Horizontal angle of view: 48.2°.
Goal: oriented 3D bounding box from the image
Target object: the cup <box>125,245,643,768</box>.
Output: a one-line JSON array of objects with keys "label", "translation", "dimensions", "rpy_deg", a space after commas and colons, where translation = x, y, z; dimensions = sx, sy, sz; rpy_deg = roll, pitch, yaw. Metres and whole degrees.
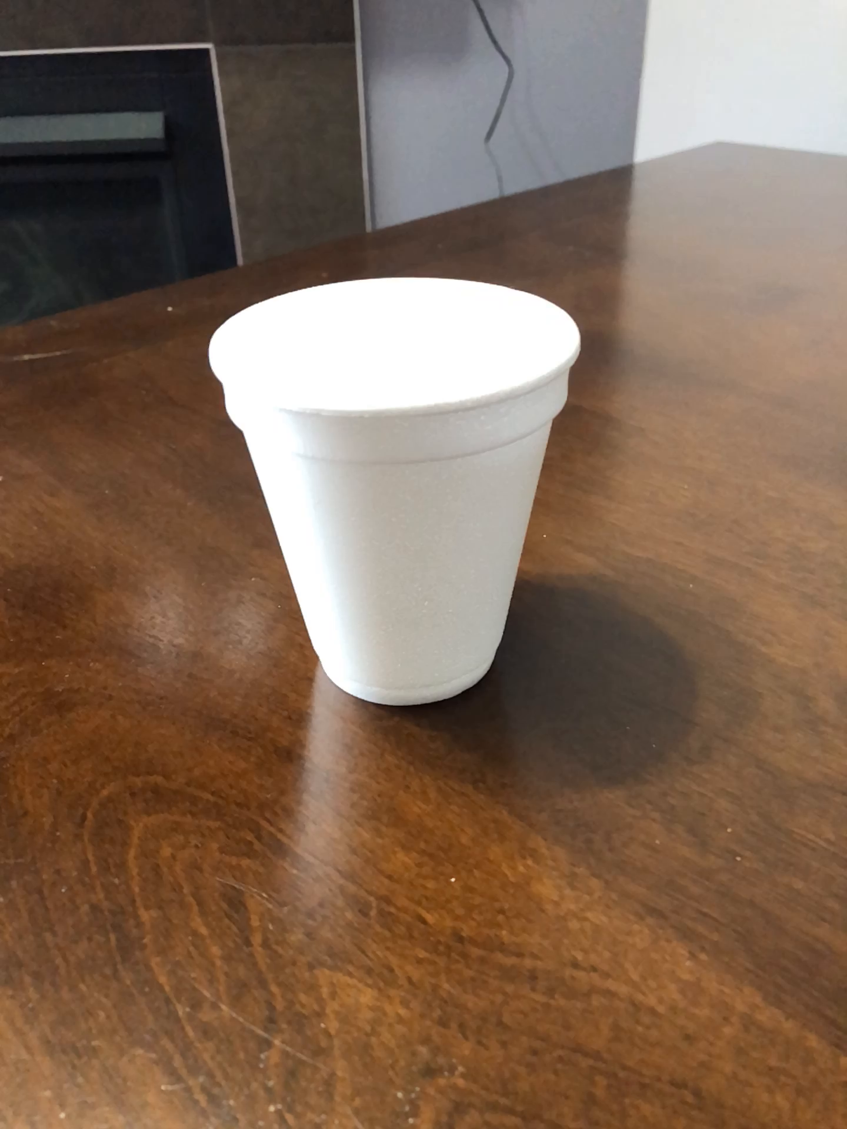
[{"label": "cup", "translation": [-0.004, -0.020, 0.221], "dimensions": [0.080, 0.080, 0.080], "rpy_deg": [-1, 33, 1]}]
